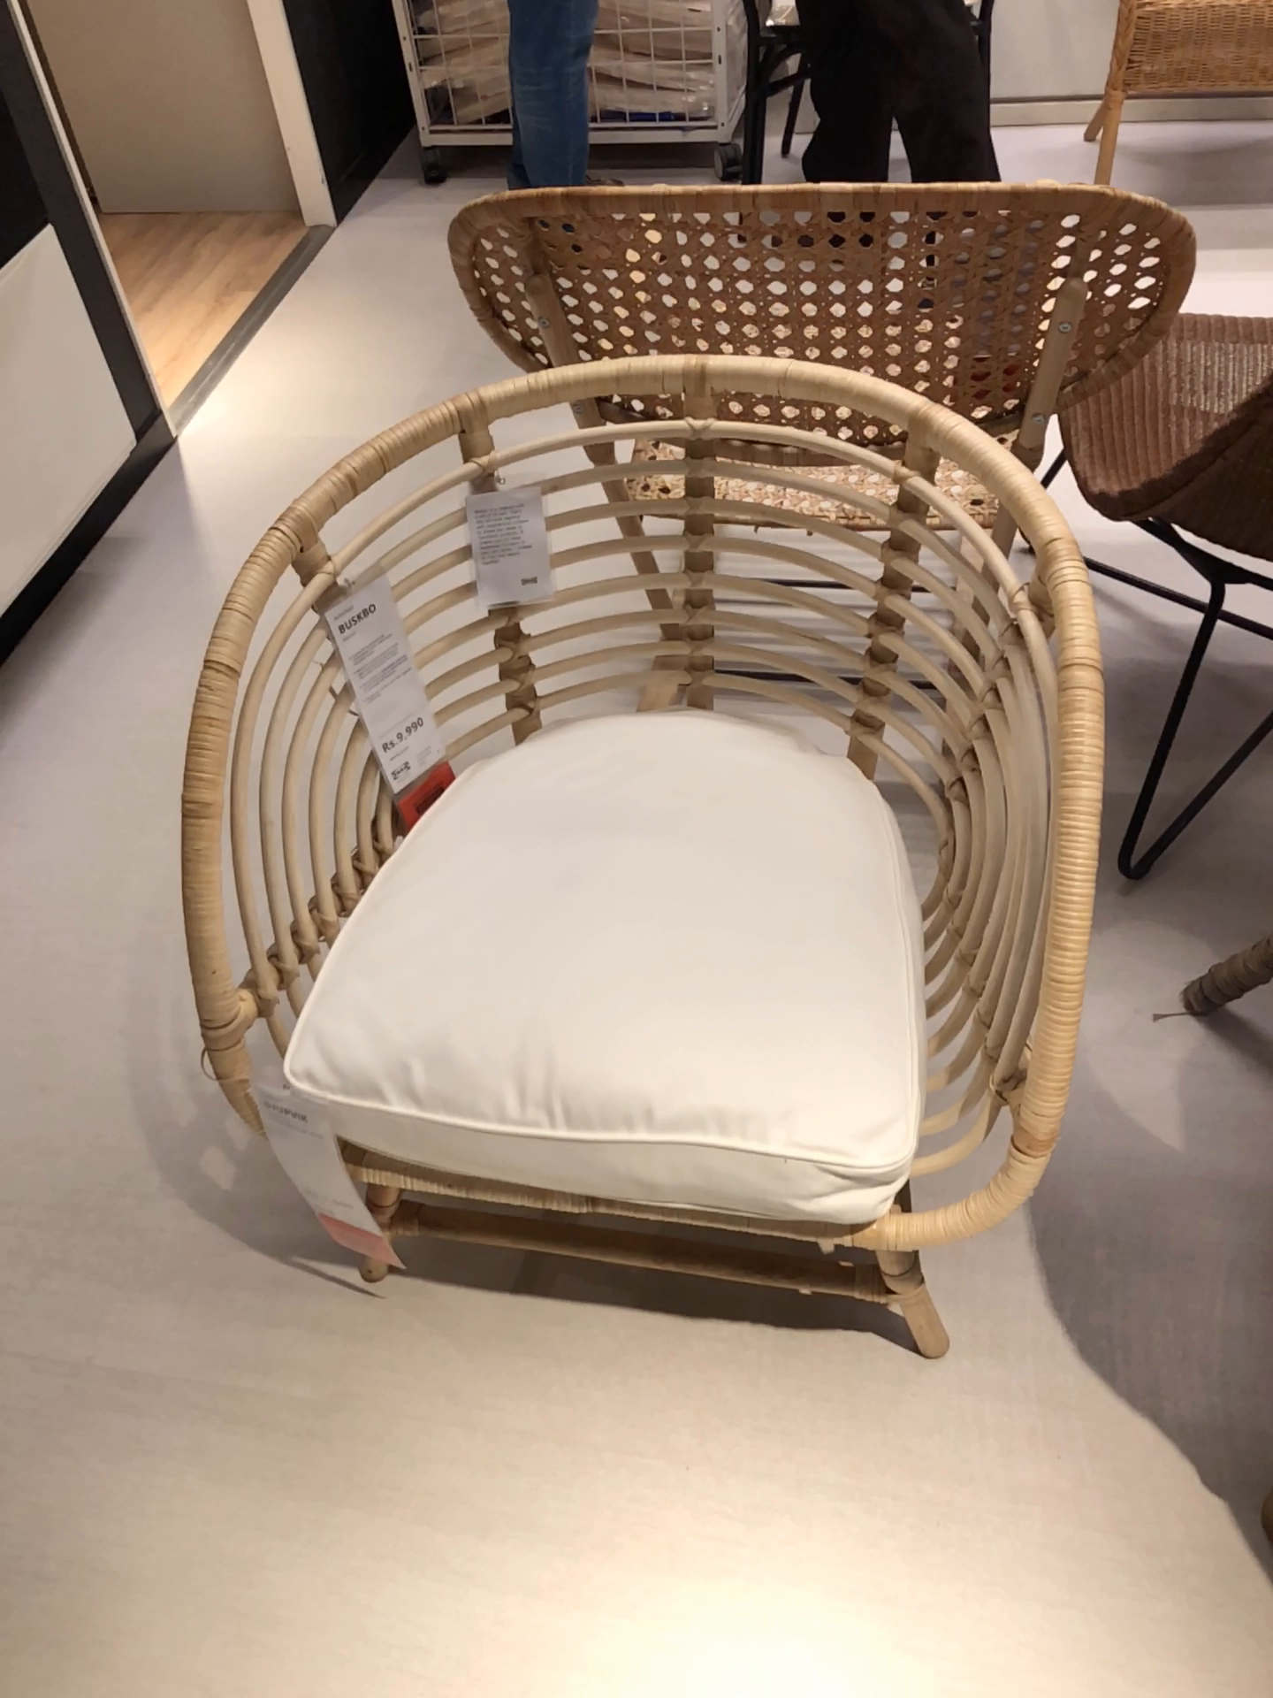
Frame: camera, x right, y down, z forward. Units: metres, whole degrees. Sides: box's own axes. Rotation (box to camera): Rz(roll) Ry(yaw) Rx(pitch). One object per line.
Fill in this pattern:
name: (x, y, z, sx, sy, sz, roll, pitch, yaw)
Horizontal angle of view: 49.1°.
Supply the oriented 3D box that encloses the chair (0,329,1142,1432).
chair: (0.029, 0.015, 1.410, 0.781, 0.775, 0.704, 5, 47, 13)
